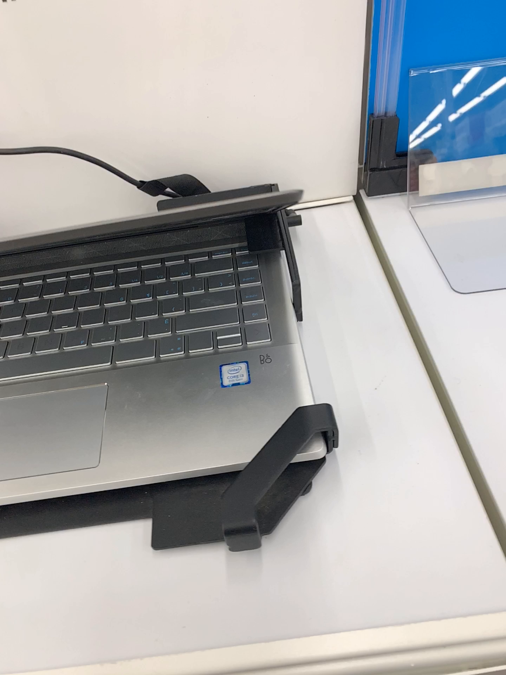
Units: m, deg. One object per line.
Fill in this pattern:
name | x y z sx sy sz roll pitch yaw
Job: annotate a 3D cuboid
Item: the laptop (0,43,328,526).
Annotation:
laptop | -0.123 -0.035 0.273 0.283 0.111 0.194 -8 47 3
